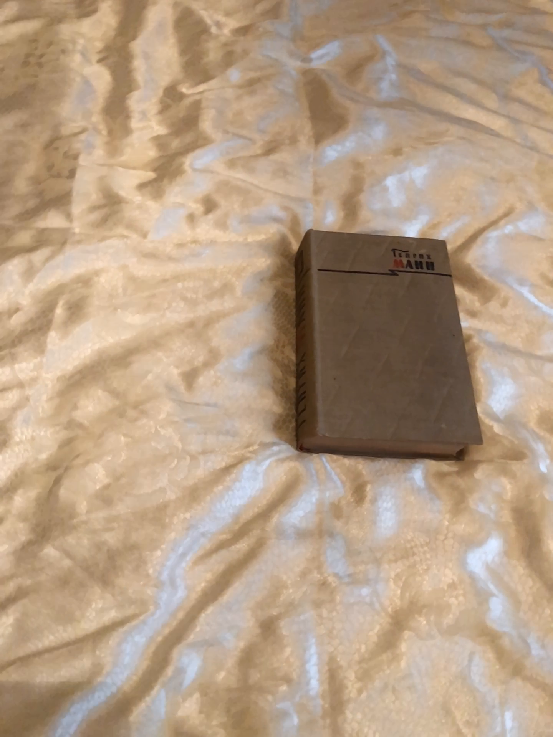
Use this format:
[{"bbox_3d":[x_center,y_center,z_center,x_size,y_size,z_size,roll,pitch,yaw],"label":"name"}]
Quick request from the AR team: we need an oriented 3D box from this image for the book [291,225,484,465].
[{"bbox_3d":[0.087,-0.025,0.538,0.142,0.051,0.209,3,60,-5],"label":"book"}]
